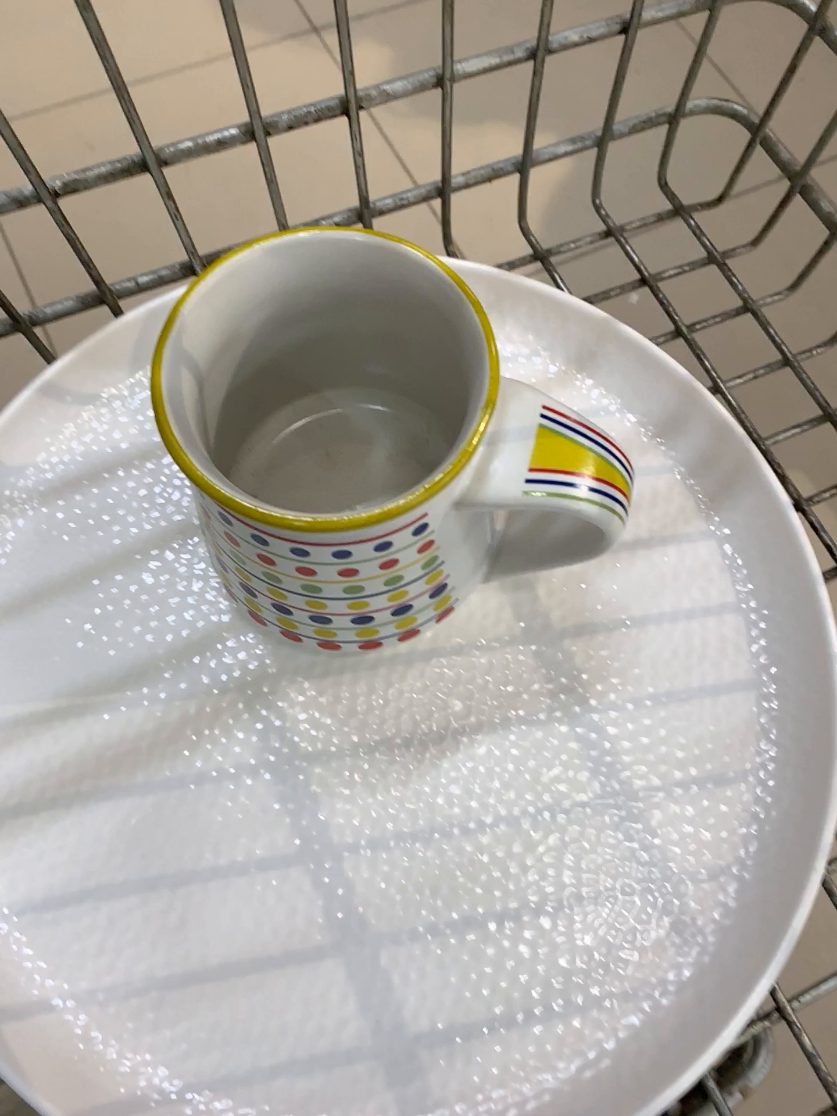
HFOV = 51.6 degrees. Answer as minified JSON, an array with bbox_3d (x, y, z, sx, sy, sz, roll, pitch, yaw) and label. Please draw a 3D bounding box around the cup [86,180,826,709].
[{"bbox_3d":[0.003,-0.018,0.201,0.120,0.100,0.080,-2,68,-4],"label":"cup"}]
